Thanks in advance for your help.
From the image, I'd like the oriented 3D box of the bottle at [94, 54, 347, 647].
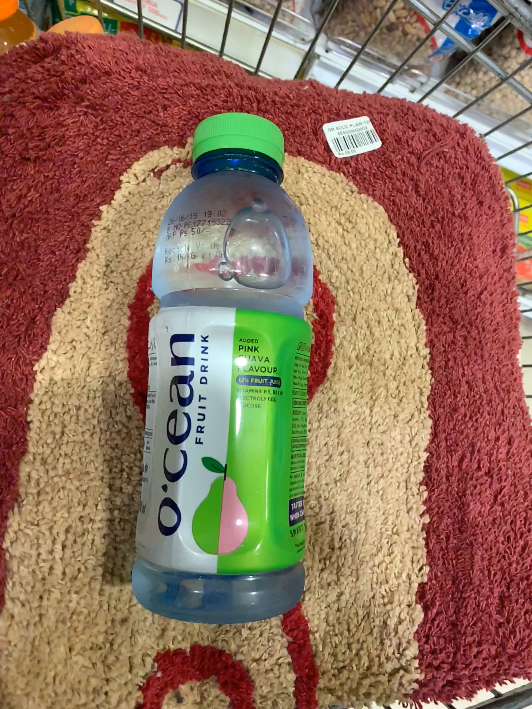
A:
[{"bbox_3d":[-0.013,-0.004,0.231,0.080,0.070,0.210,2,84,3],"label":"bottle"}]
